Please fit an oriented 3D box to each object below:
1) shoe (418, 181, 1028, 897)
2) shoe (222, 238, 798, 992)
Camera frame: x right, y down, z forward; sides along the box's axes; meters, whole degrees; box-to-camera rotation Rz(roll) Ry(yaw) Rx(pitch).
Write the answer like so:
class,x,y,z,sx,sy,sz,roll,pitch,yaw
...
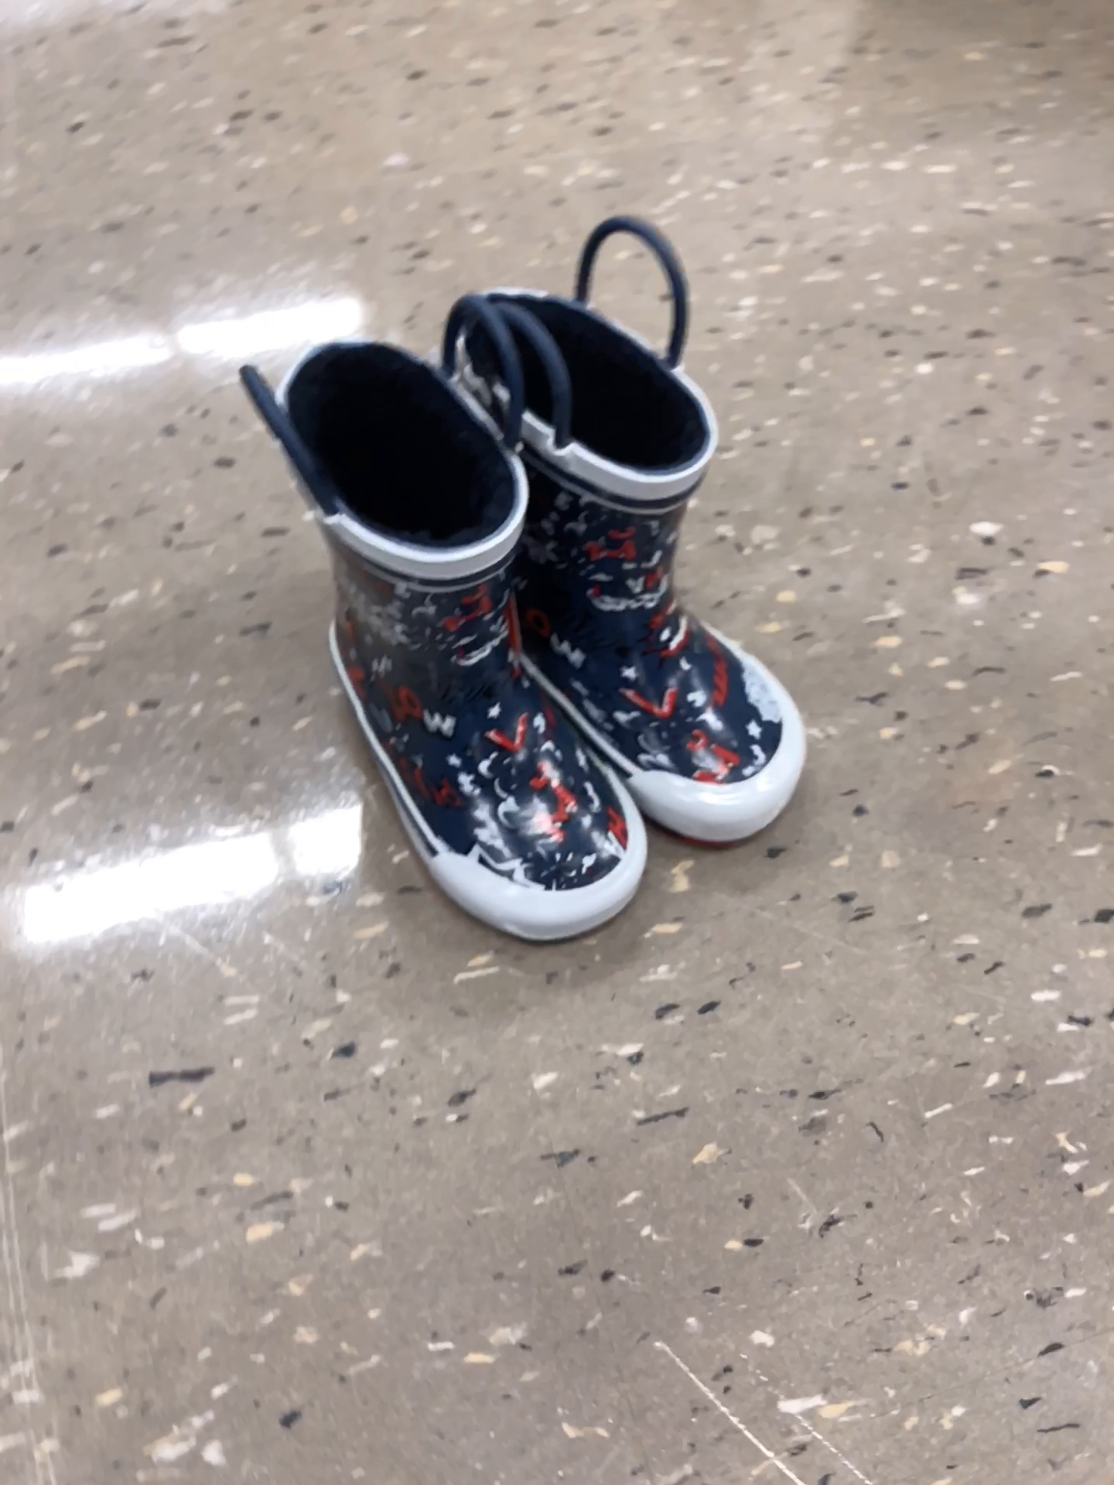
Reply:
class,x,y,z,sx,sy,sz,roll,pitch,yaw
shoe,0.038,-0.060,0.403,0.150,0.160,0.080,41,63,21
shoe,-0.022,-0.035,0.397,0.080,0.160,0.160,-27,62,-20
